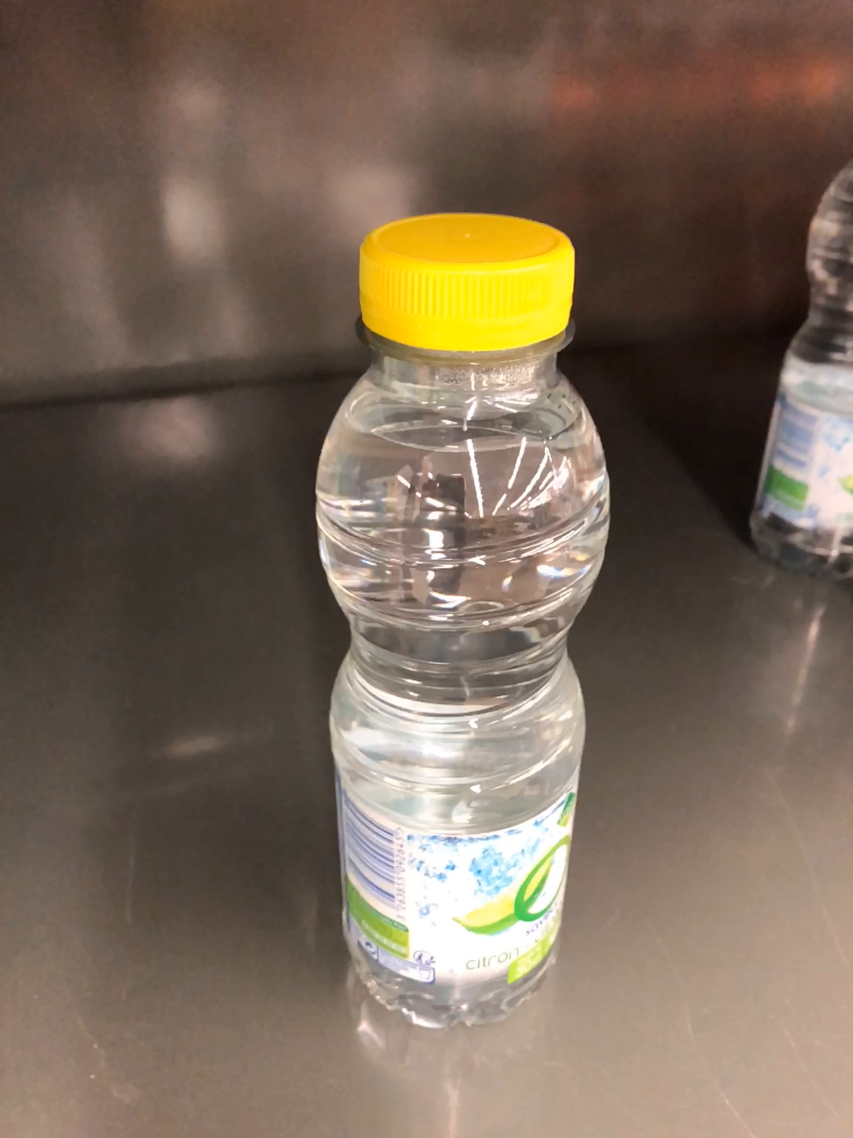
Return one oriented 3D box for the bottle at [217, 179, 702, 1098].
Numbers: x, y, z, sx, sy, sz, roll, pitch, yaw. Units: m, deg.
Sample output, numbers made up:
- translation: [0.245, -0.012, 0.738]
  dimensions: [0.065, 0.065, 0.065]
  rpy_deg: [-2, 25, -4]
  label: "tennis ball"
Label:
- translation: [0.008, 0.024, 0.234]
  dimensions: [0.060, 0.209, 0.070]
  rpy_deg: [25, 40, 35]
  label: "bottle"
